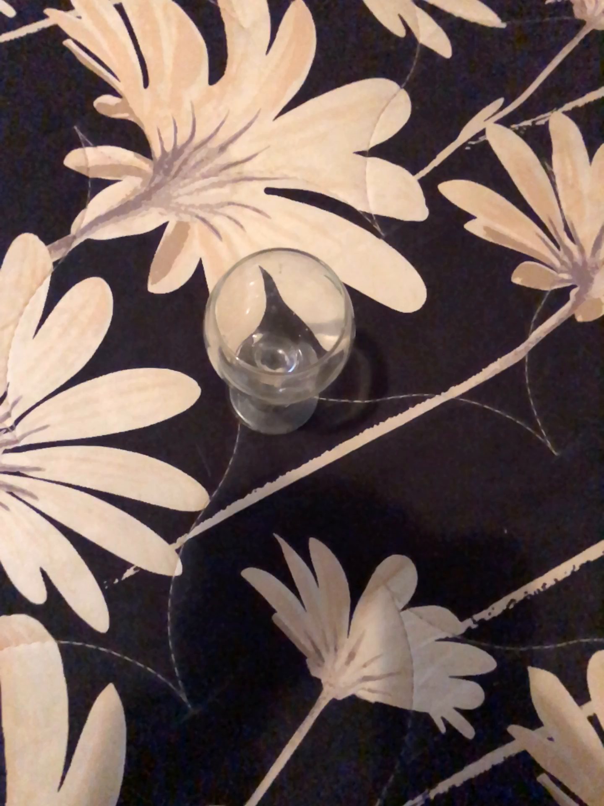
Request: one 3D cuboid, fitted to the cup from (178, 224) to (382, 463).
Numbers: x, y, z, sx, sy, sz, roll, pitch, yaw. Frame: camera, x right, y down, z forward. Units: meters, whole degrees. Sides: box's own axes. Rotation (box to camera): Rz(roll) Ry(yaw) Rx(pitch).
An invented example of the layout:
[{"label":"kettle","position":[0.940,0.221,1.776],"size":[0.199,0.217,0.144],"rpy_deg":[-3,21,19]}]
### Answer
[{"label":"cup","position":[-0.015,-0.024,0.372],"size":[0.082,0.139,0.084],"rpy_deg":[1,77,-3]}]
